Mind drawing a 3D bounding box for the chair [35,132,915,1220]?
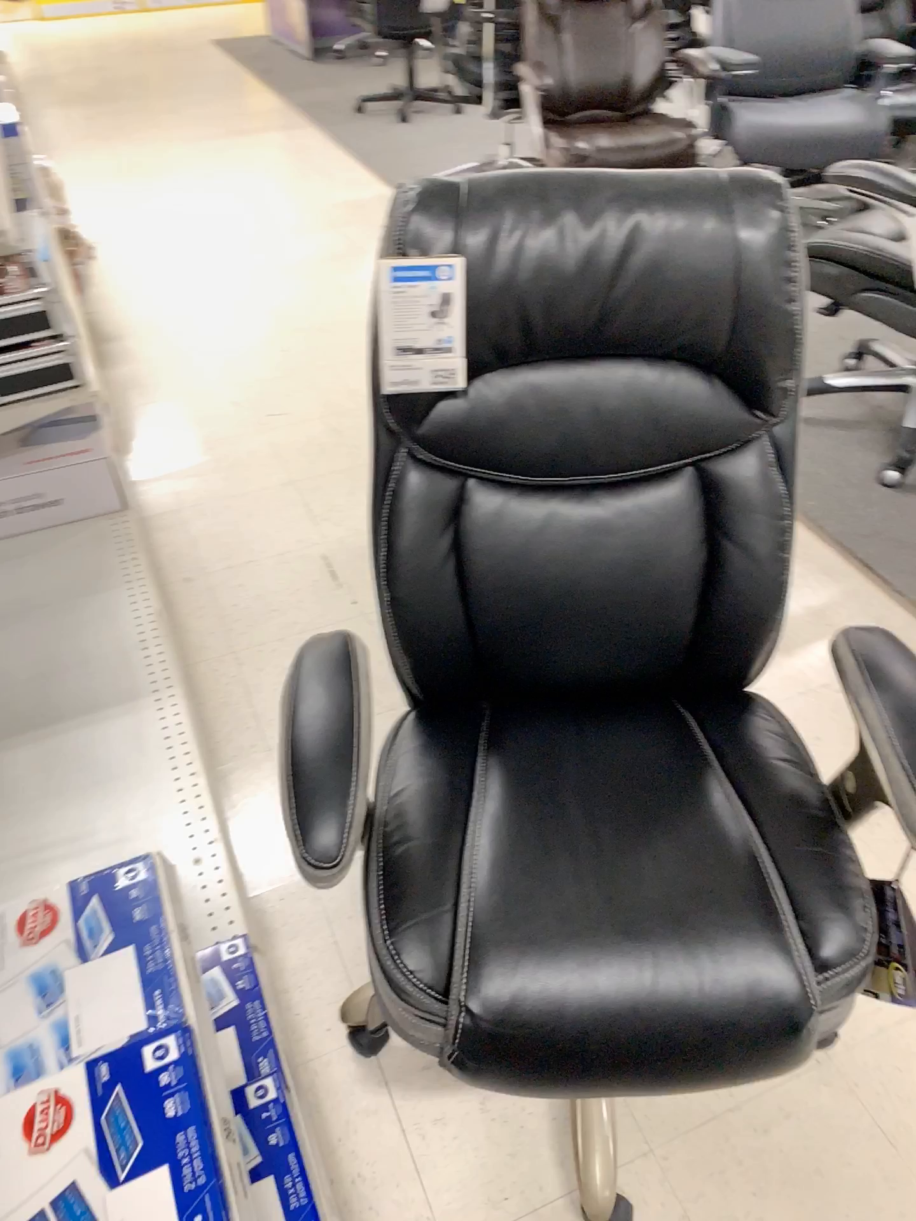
[{"bbox_3d":[0.157,0.149,1.093,0.740,1.095,0.744,-3,41,-2],"label":"chair"}]
